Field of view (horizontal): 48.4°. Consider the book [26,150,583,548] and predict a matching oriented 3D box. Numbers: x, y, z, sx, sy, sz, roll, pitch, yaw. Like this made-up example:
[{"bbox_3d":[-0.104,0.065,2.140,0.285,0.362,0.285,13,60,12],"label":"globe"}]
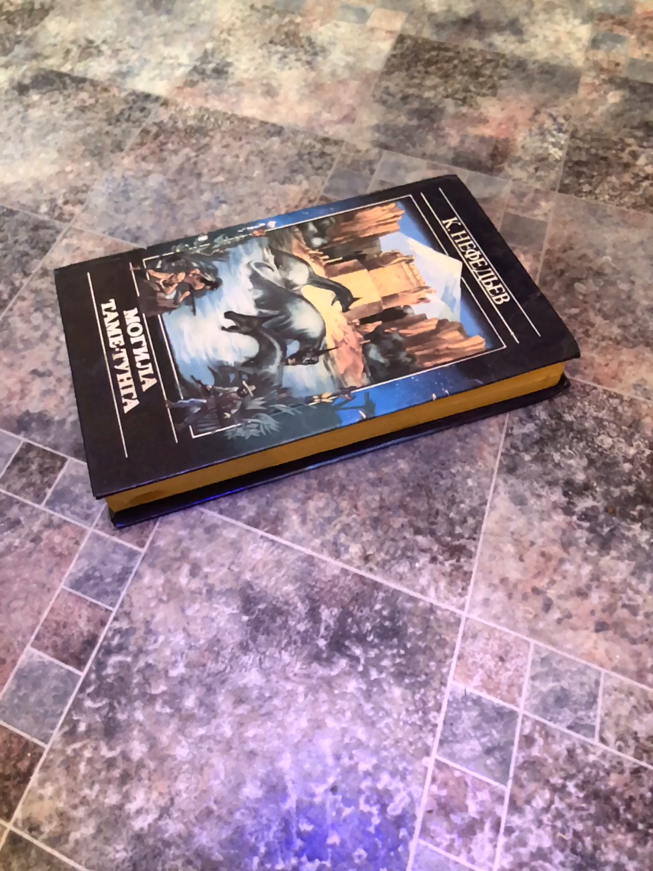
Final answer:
[{"bbox_3d":[-0.018,-0.048,0.315,0.201,0.030,0.139,-16,57,-8],"label":"book"}]
